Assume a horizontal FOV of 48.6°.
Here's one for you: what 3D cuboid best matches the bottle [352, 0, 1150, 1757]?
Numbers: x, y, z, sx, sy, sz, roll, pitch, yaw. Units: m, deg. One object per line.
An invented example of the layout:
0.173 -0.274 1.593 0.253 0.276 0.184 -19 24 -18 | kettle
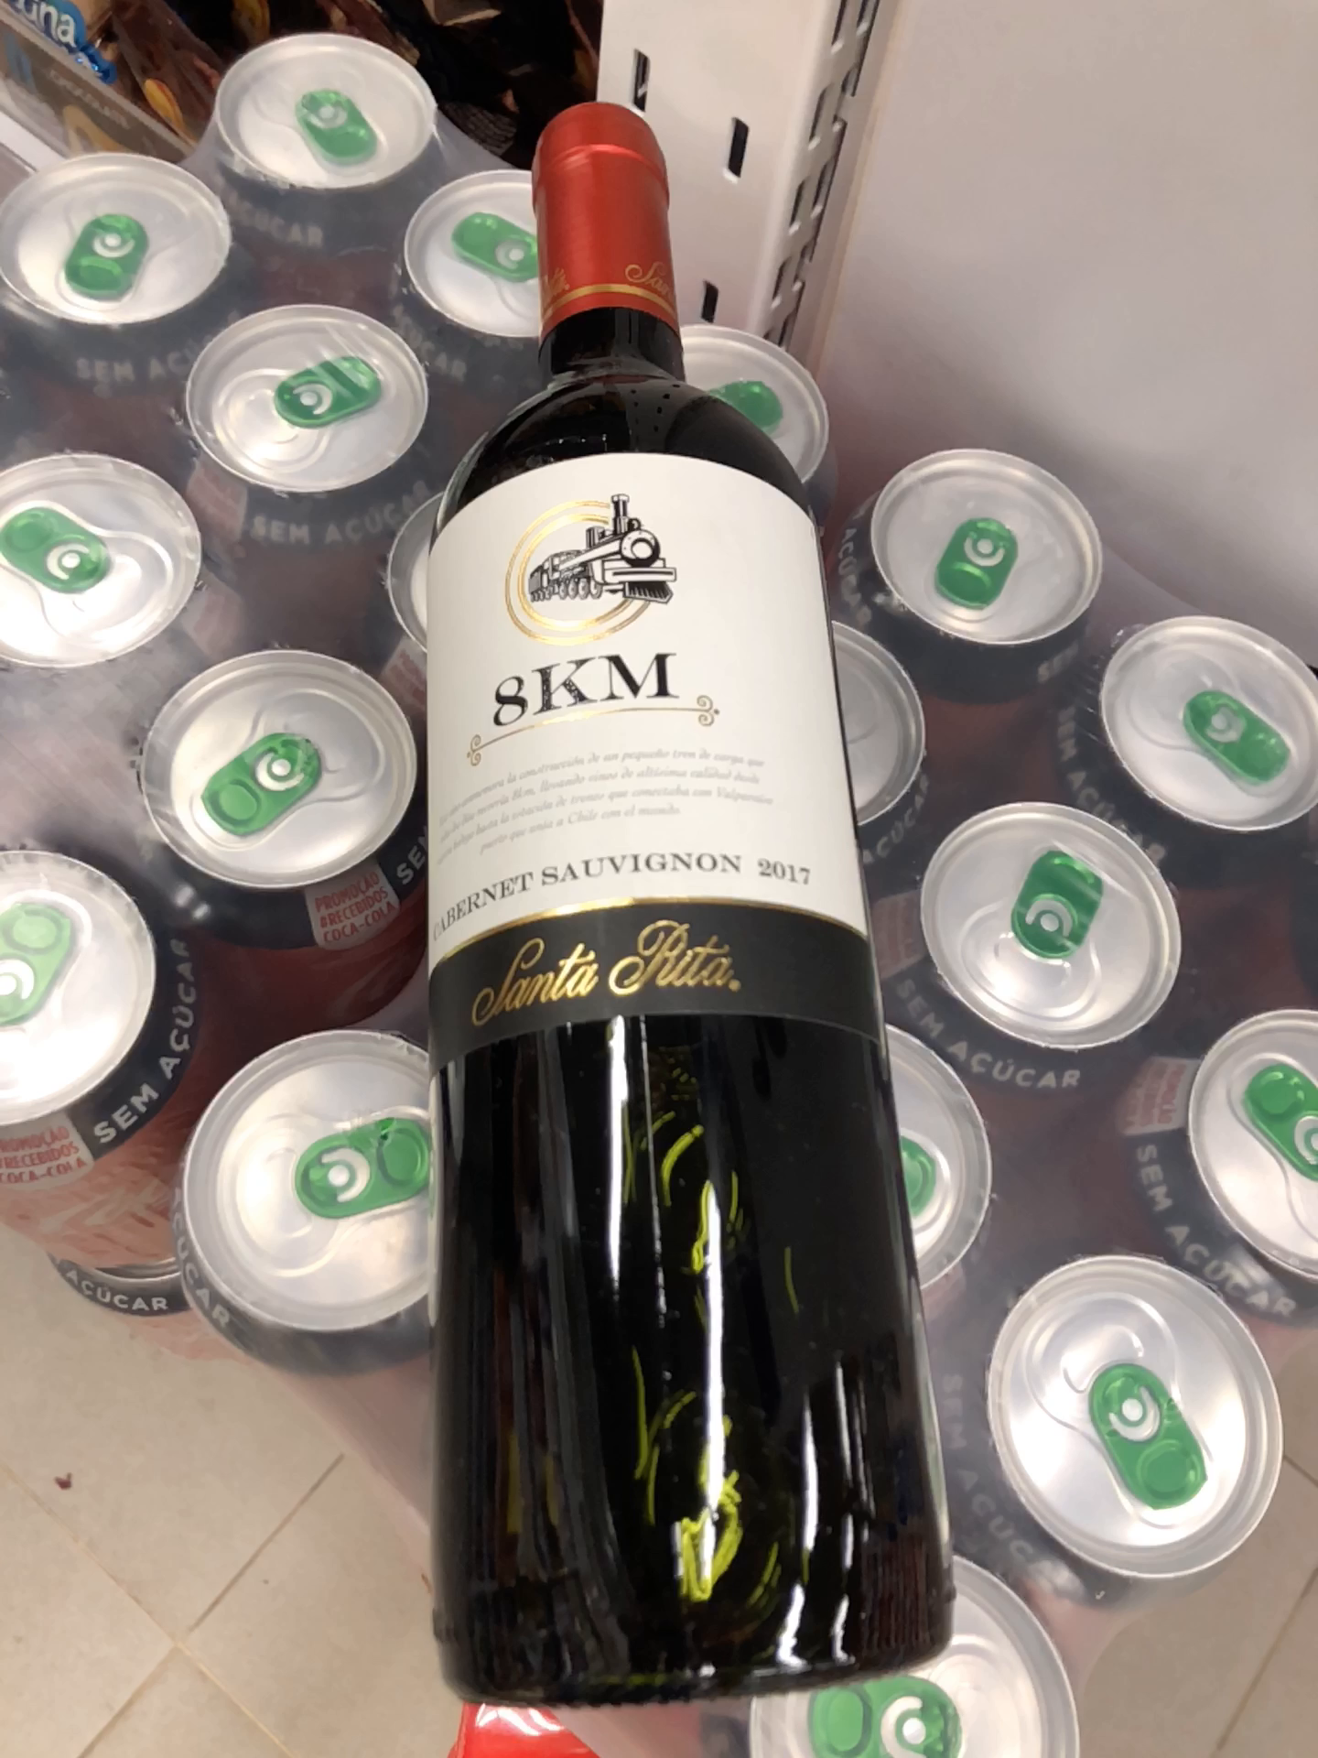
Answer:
-0.005 -0.042 0.254 0.080 0.070 0.321 -3 66 -8 | bottle
